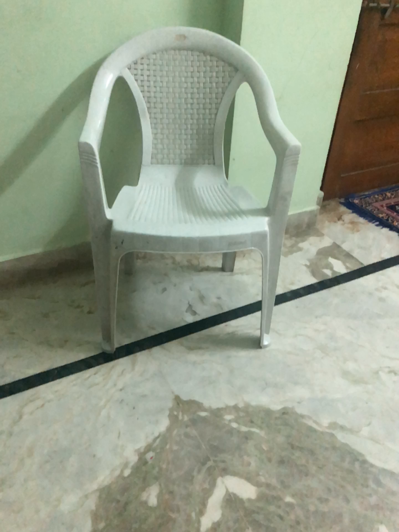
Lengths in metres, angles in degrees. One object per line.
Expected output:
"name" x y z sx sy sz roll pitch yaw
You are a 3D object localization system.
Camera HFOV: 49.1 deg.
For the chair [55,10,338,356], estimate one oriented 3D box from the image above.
"chair" -0.031 -0.228 1.271 0.530 0.824 0.534 1 35 -4
